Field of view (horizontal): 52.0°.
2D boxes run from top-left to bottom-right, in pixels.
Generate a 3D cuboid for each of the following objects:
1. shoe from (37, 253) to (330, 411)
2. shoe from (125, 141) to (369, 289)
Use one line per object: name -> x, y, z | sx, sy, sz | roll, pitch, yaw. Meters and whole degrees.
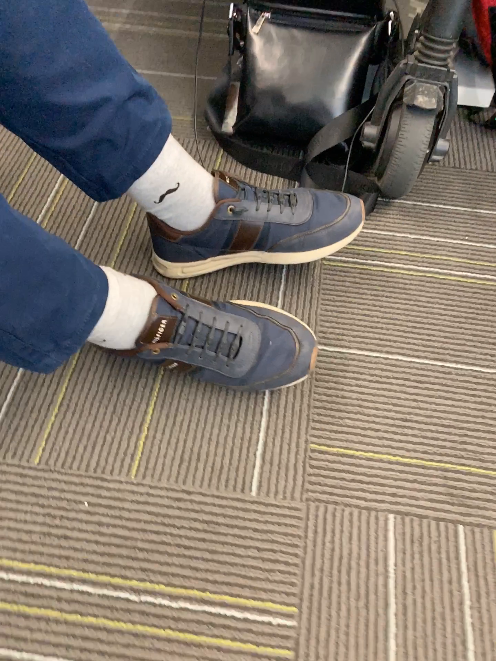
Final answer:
shoe -> -0.079, -0.001, 0.612 | 0.320, 0.100, 0.120 | 11, 85, 20
shoe -> 0.003, -0.151, 0.687 | 0.300, 0.100, 0.120 | -6, 56, 11
